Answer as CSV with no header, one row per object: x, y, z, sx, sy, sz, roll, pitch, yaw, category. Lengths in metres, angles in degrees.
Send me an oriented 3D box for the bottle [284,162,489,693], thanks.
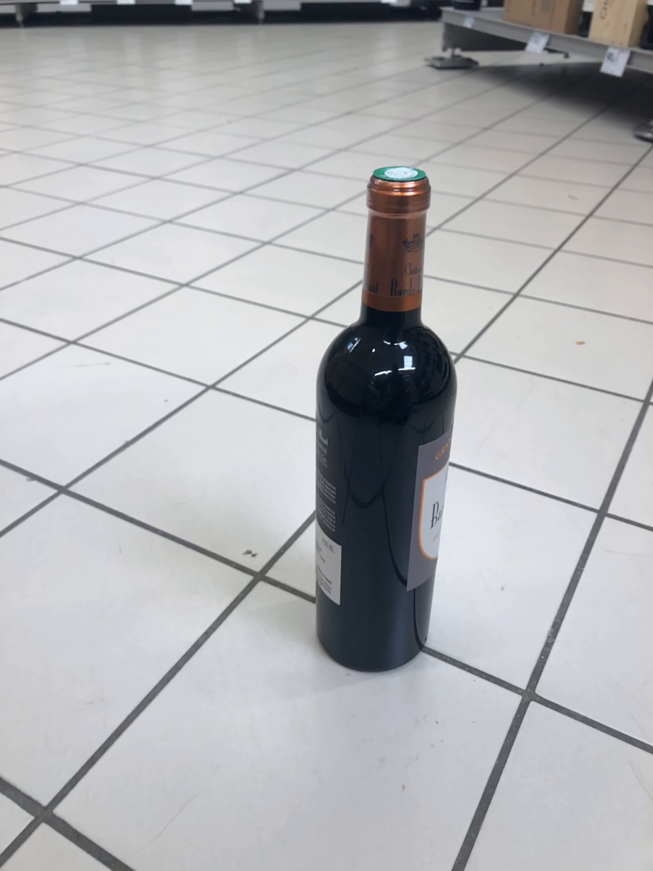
0.026,0.011,0.395,0.080,0.288,0.081,0,33,0,bottle
